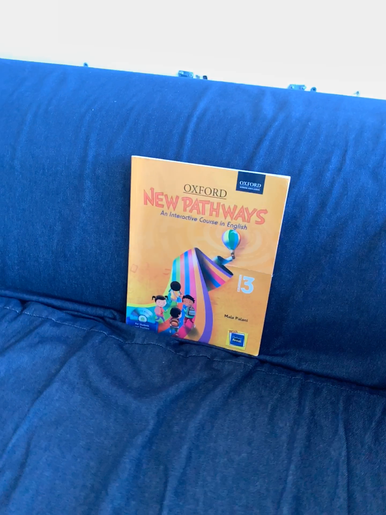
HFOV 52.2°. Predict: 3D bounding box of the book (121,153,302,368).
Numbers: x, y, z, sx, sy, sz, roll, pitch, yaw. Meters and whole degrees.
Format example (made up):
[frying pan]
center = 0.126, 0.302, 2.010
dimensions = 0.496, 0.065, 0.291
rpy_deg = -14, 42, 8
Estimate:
[book]
center = 0.013, 0.009, 0.580
dimensions = 0.230, 0.283, 0.030
rpy_deg = 11, 22, 11
